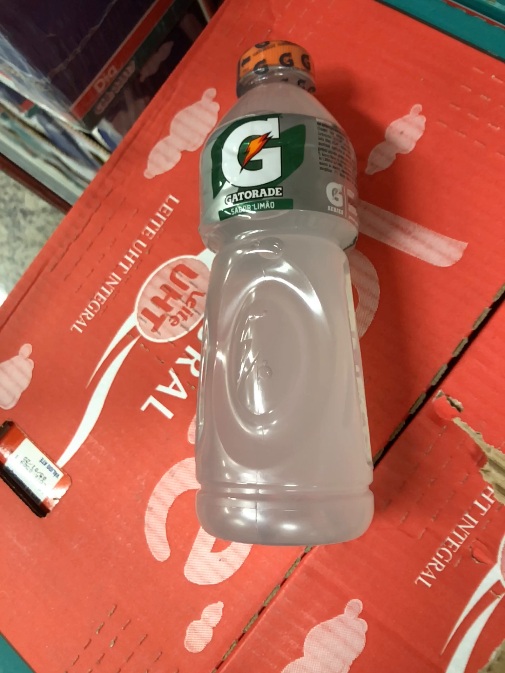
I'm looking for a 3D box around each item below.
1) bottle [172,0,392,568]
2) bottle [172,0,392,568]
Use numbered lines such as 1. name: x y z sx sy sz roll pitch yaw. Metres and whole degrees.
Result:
1. bottle: 0.014 -0.025 0.229 0.070 0.060 0.210 -4 78 14
2. bottle: 0.014 -0.025 0.229 0.070 0.060 0.210 -4 78 14
